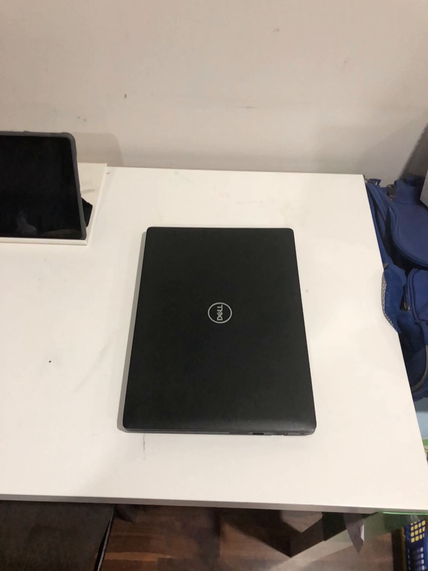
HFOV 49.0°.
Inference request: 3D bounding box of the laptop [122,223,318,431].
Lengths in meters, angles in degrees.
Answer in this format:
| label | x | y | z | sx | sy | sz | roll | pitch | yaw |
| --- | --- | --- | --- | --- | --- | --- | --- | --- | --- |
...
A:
| label | x | y | z | sx | sy | sz | roll | pitch | yaw |
| --- | --- | --- | --- | --- | --- | --- | --- | --- | --- |
| laptop | 0.008 | 0.039 | 0.675 | 0.241 | 0.010 | 0.333 | 0 | 55 | 2 |
